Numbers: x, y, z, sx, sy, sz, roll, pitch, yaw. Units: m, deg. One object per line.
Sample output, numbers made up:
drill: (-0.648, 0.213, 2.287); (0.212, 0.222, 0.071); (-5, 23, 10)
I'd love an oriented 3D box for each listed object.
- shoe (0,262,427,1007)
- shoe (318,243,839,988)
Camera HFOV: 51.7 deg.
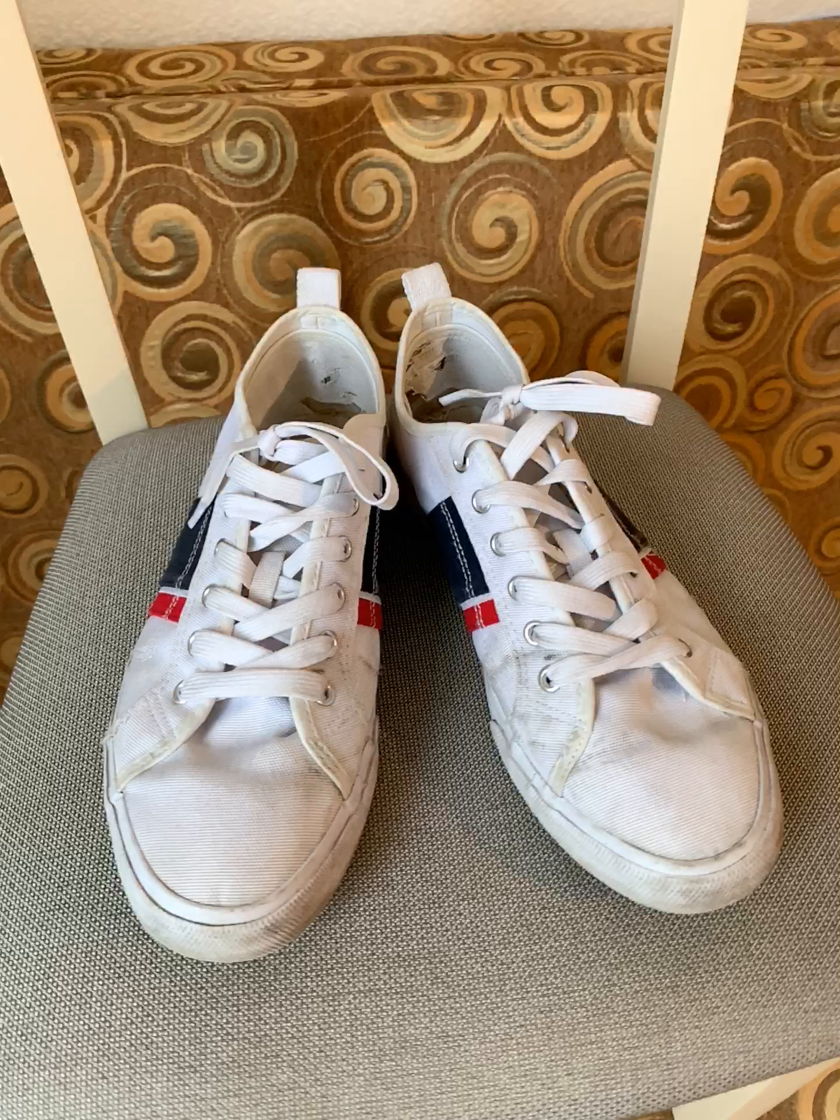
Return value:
shoe: (-0.069, 0.007, 0.342); (0.120, 0.090, 0.281); (4, 53, 3)
shoe: (0.057, -0.001, 0.342); (0.110, 0.090, 0.271); (-17, 55, -13)
